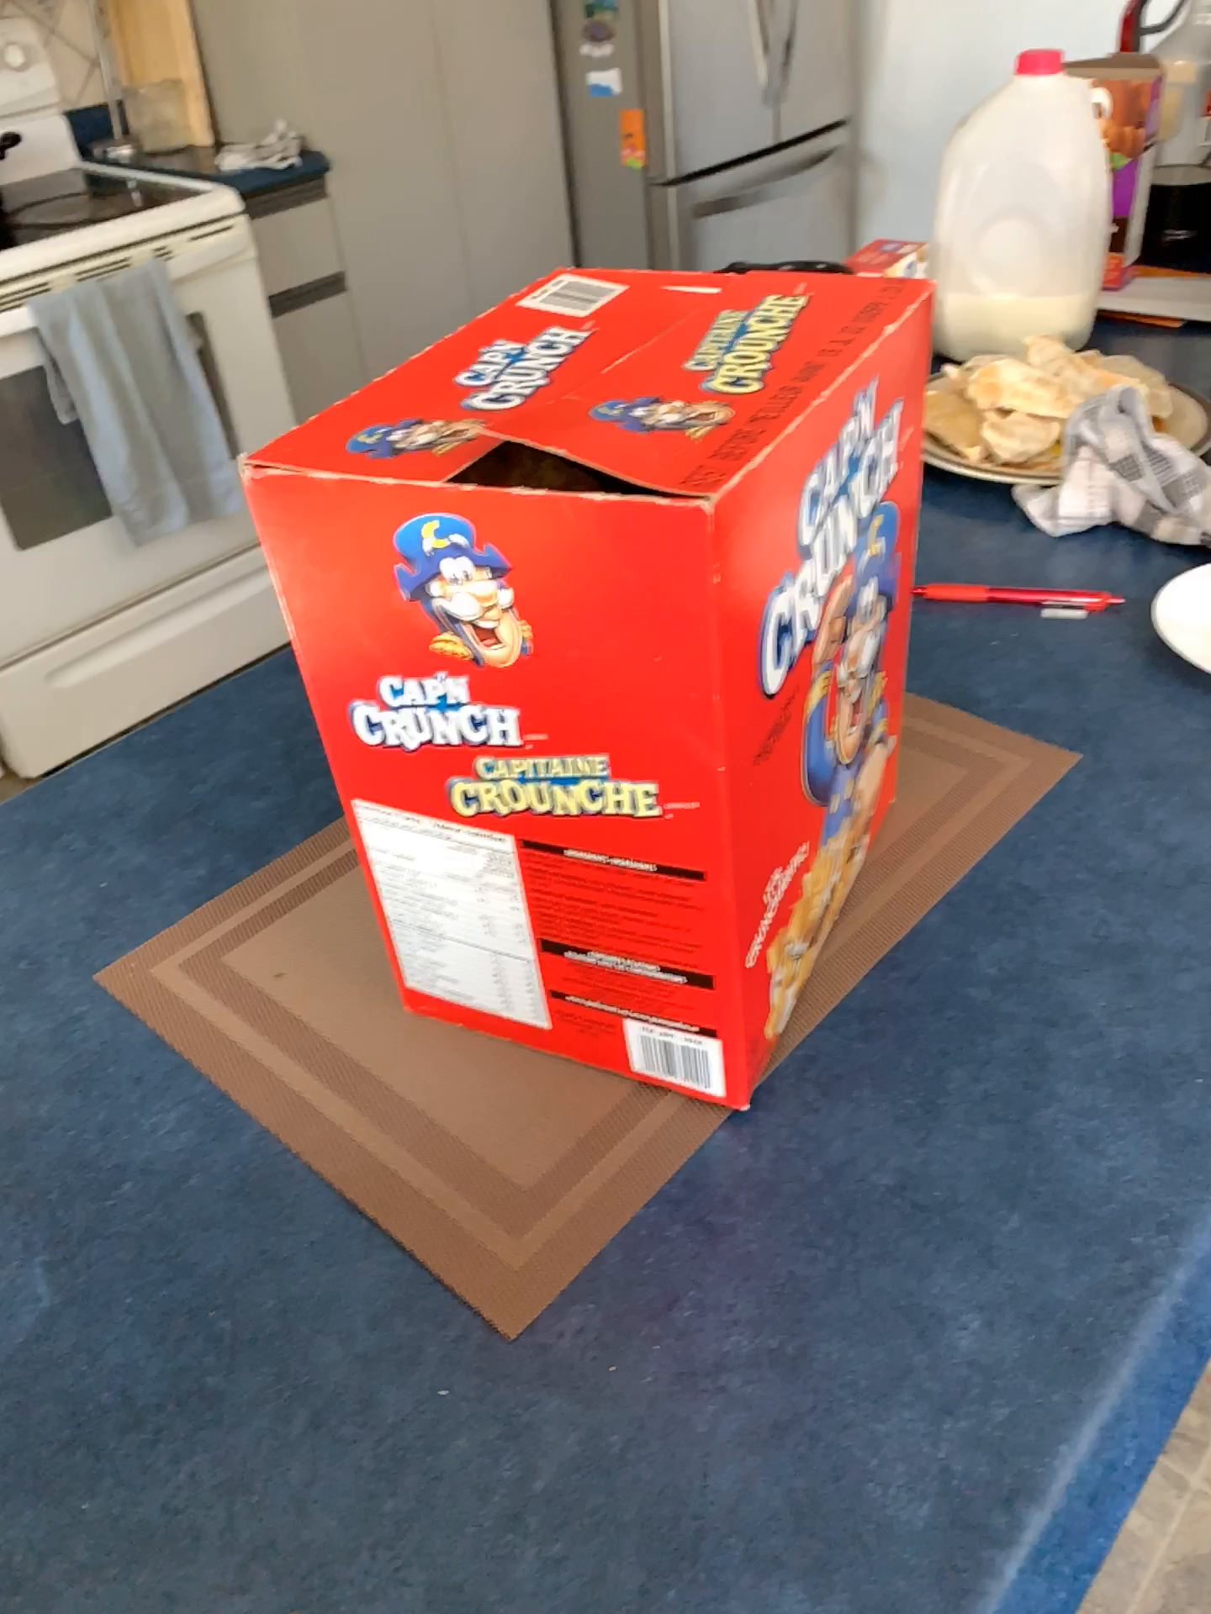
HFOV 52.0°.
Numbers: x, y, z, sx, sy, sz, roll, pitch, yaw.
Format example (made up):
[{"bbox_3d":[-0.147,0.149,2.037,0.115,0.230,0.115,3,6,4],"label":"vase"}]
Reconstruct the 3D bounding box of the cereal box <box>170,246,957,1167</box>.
[{"bbox_3d":[0.013,-0.065,0.578,0.210,0.297,0.272,13,41,23],"label":"cereal box"}]
